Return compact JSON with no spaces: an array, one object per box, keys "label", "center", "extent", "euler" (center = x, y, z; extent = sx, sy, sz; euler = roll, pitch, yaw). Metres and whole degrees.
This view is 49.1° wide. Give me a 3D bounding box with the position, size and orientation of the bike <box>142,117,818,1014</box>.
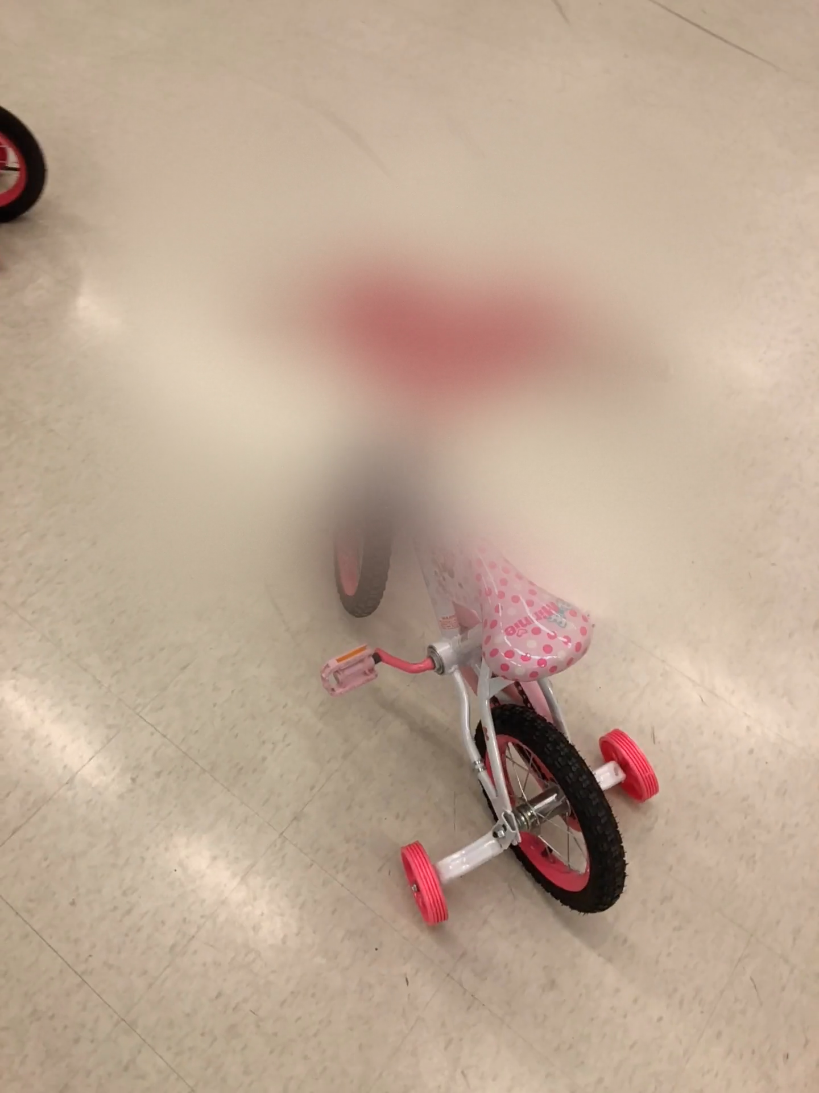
[{"label":"bike","center":[0.094,0.027,1.143],"extent":[0.510,0.680,0.776],"euler":[-21,58,-16]}]
